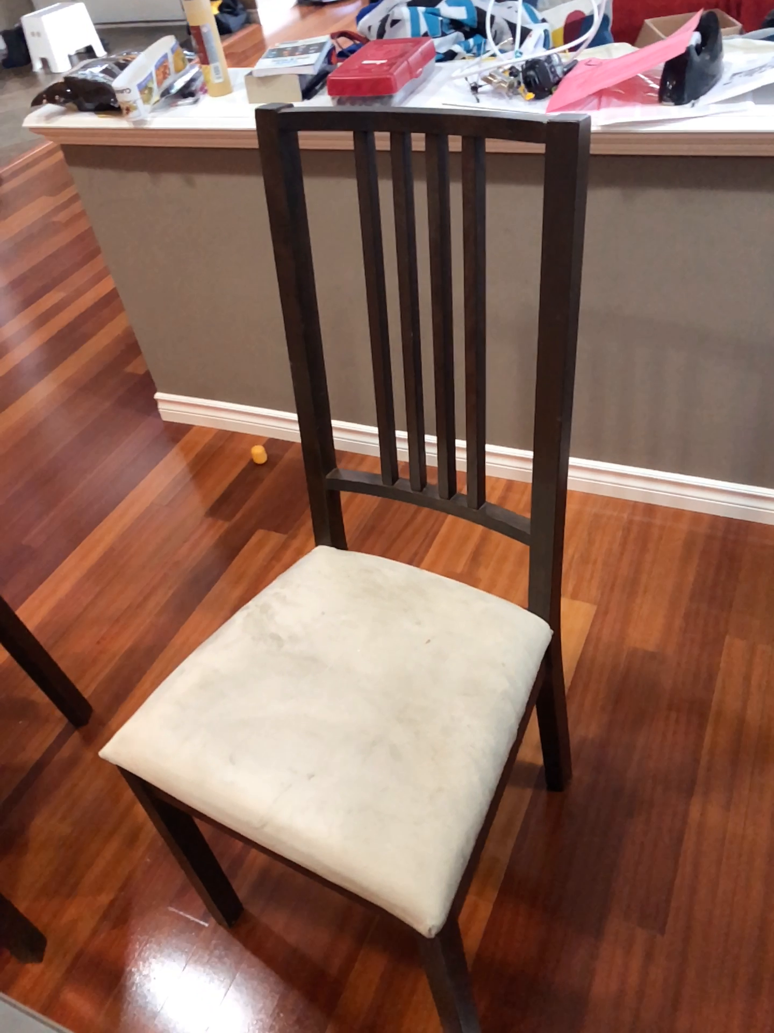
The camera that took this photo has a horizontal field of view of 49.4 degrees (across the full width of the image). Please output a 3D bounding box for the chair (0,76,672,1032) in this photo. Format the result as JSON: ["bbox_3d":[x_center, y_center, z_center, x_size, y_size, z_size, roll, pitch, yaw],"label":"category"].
[{"bbox_3d":[-0.043,0.150,0.969,0.491,1.053,0.512,17,48,27],"label":"chair"}]
